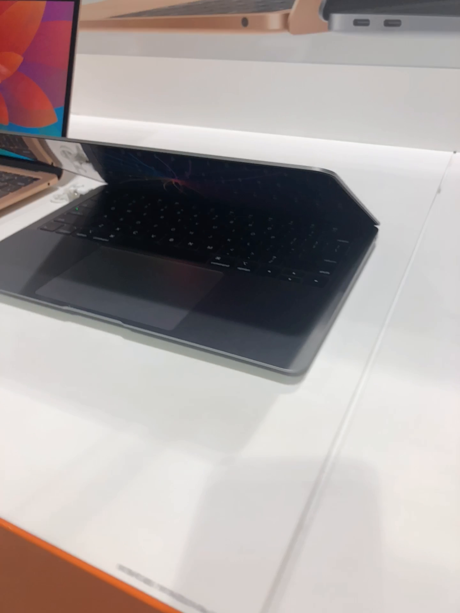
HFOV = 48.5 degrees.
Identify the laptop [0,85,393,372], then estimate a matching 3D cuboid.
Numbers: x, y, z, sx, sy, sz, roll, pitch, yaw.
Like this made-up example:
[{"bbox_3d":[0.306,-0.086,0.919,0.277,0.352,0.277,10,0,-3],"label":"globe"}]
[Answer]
[{"bbox_3d":[-0.048,-0.089,0.398,0.289,0.102,0.199,14,37,22],"label":"laptop"}]
